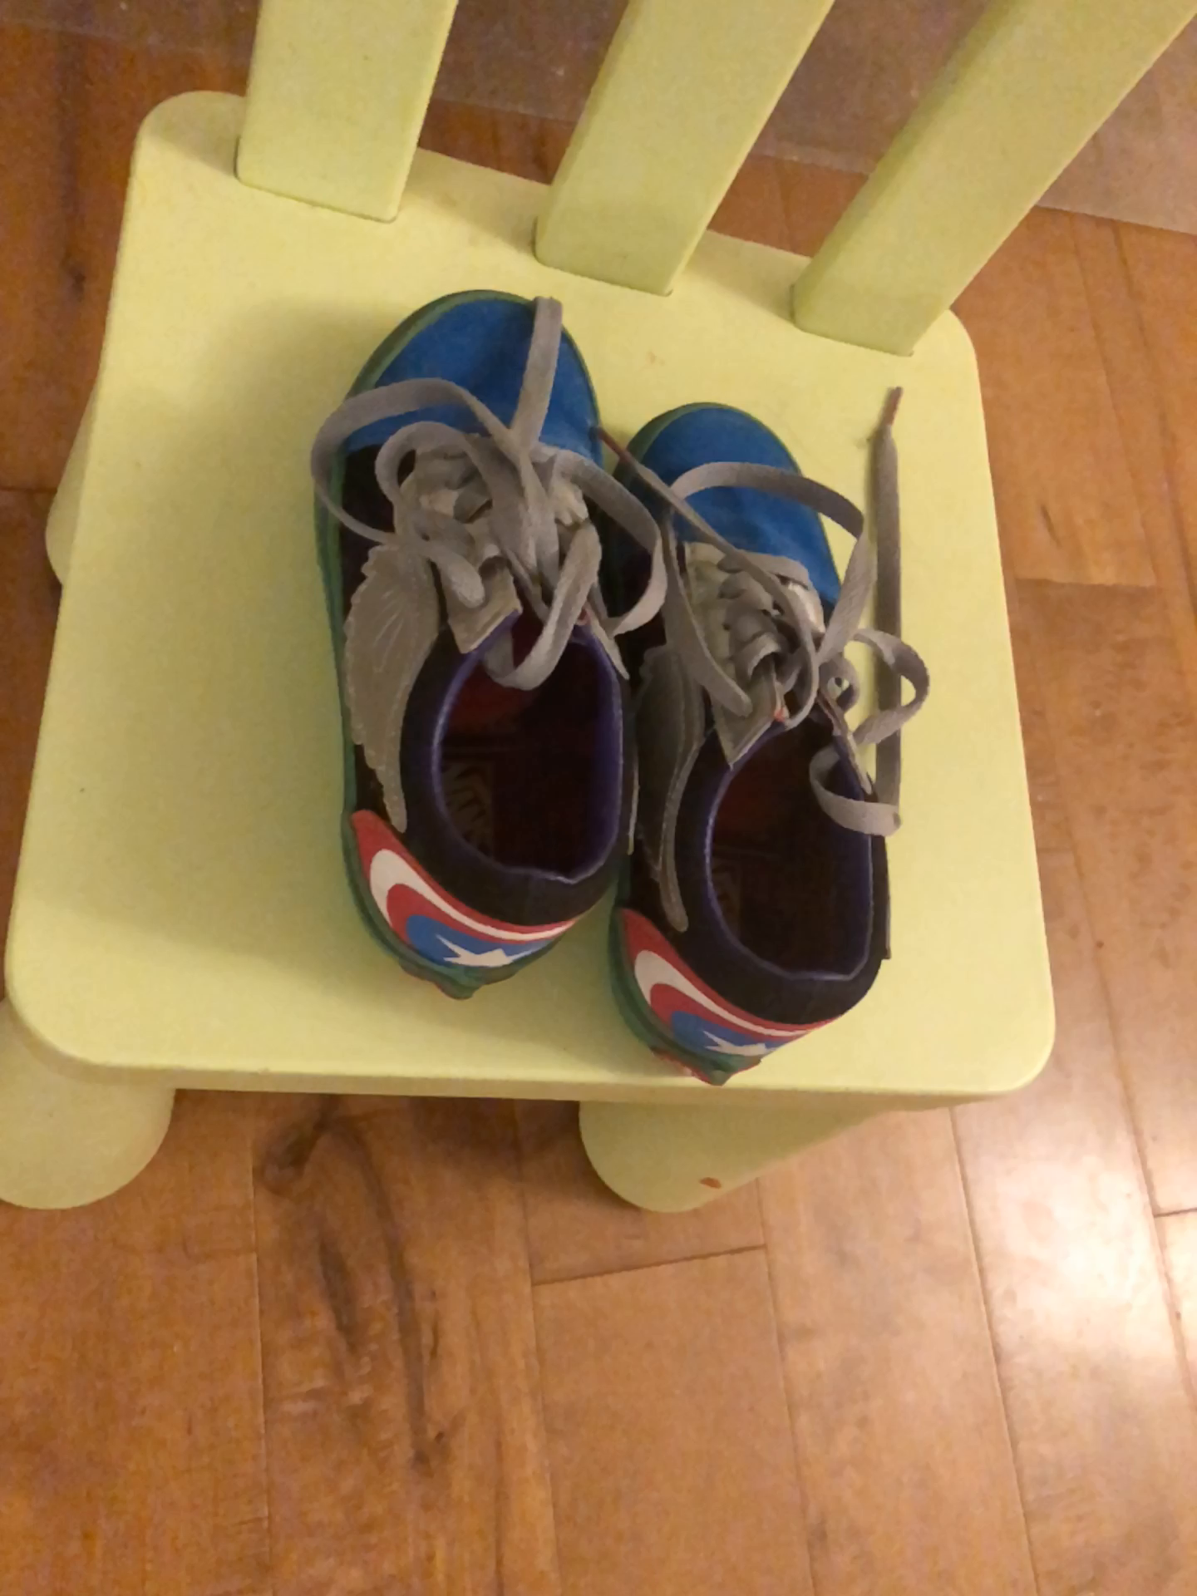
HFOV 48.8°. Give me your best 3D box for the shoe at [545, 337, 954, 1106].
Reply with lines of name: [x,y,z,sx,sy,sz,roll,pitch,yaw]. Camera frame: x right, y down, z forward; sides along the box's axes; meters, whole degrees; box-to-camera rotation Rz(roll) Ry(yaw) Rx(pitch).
shoe: [0.038,-0.017,0.364,0.080,0.070,0.190,8,70,-19]

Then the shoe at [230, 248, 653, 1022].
shoe: [-0.043,-0.041,0.375,0.090,0.080,0.190,8,70,-19]
